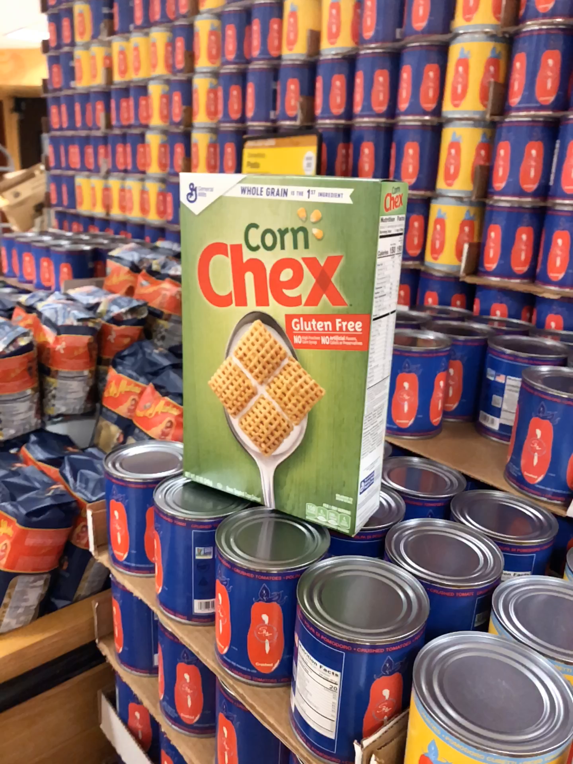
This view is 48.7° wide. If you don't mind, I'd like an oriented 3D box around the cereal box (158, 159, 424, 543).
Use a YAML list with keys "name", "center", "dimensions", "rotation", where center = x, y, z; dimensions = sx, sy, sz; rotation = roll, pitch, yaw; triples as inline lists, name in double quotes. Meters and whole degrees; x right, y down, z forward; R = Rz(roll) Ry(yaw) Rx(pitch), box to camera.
- name: "cereal box"
  center: [-0.008, -0.037, 0.563]
  dimensions: [0.220, 0.298, 0.060]
  rotation: [13, 20, 30]
